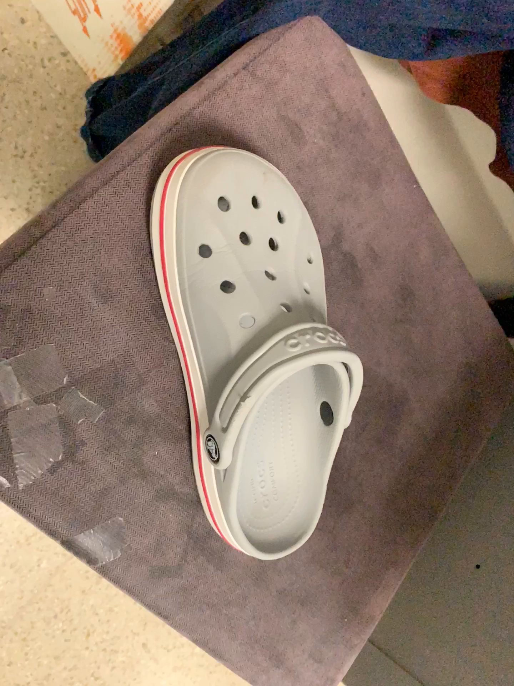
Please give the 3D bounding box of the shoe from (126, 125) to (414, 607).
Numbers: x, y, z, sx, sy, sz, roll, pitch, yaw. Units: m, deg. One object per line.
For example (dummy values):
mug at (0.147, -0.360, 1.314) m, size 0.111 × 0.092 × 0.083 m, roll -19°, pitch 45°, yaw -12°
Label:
shoe at (0.013, 0.006, 0.316) m, size 0.119 × 0.075 × 0.238 m, roll -14°, pitch 102°, yaw -30°
